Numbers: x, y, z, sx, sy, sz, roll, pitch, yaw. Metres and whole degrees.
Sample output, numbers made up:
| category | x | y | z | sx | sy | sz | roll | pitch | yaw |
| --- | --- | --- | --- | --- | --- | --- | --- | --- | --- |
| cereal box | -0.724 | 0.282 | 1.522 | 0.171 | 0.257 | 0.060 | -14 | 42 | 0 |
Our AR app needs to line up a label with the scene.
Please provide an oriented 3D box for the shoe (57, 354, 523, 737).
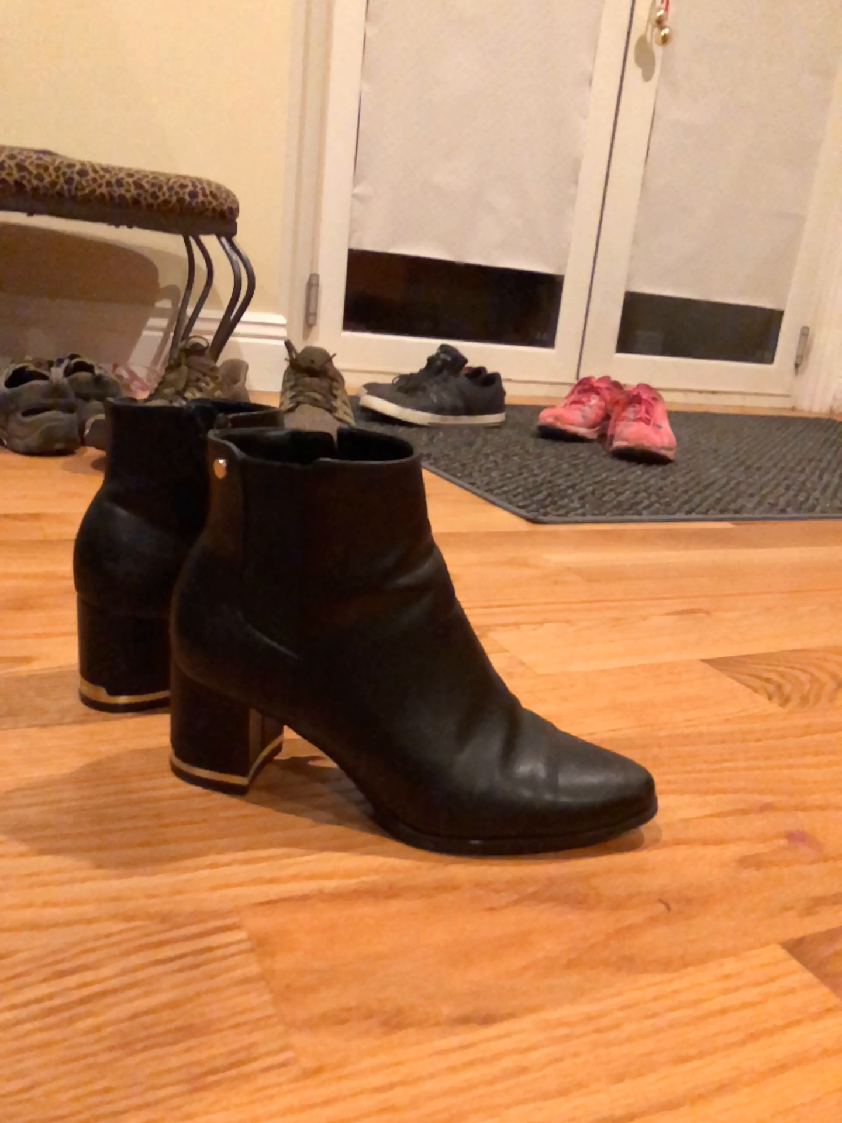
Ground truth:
| category | x | y | z | sx | sy | sz | roll | pitch | yaw |
| --- | --- | --- | --- | --- | --- | --- | --- | --- | --- |
| shoe | -0.075 | -0.018 | 0.531 | 0.236 | 0.175 | 0.095 | -4 | 18 | -32 |

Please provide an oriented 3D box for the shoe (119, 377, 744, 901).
| category | x | y | z | sx | sy | sz | roll | pitch | yaw |
| --- | --- | --- | --- | --- | --- | --- | --- | --- | --- |
| shoe | -0.001 | 0.023 | 0.413 | 0.236 | 0.175 | 0.095 | 9 | 16 | 9 |
